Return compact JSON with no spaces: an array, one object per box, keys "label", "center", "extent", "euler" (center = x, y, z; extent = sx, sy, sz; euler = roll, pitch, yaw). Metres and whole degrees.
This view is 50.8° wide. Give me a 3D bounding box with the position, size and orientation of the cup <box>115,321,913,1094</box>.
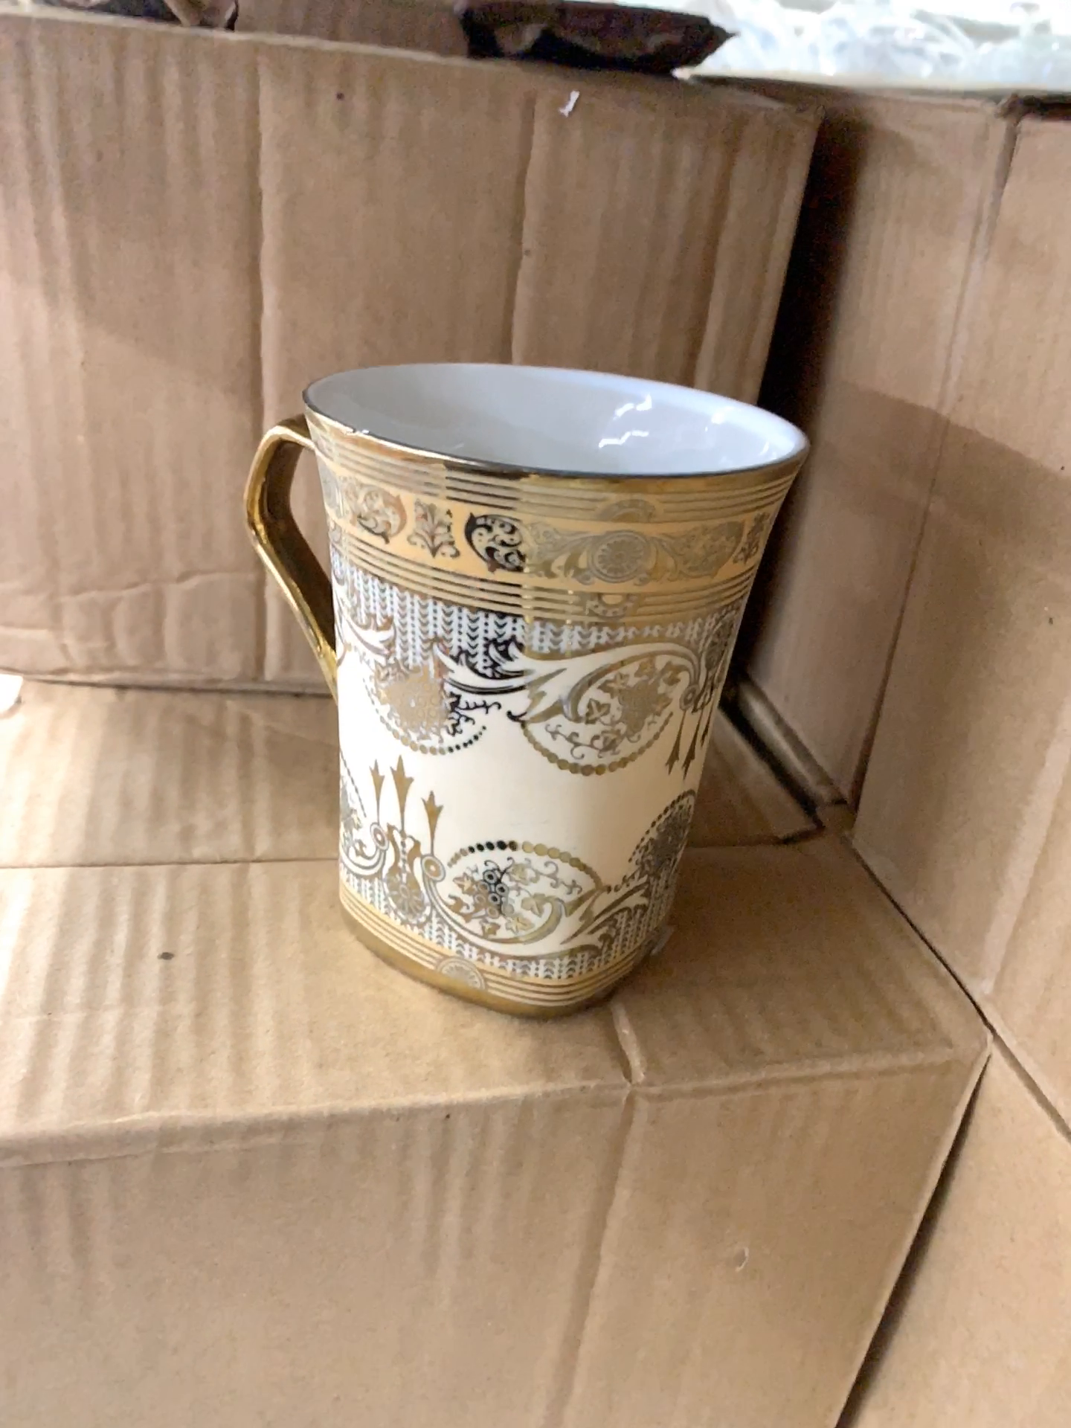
[{"label":"cup","center":[-0.005,-0.014,0.209],"extent":[0.105,0.092,0.084],"euler":[21,32,30]}]
